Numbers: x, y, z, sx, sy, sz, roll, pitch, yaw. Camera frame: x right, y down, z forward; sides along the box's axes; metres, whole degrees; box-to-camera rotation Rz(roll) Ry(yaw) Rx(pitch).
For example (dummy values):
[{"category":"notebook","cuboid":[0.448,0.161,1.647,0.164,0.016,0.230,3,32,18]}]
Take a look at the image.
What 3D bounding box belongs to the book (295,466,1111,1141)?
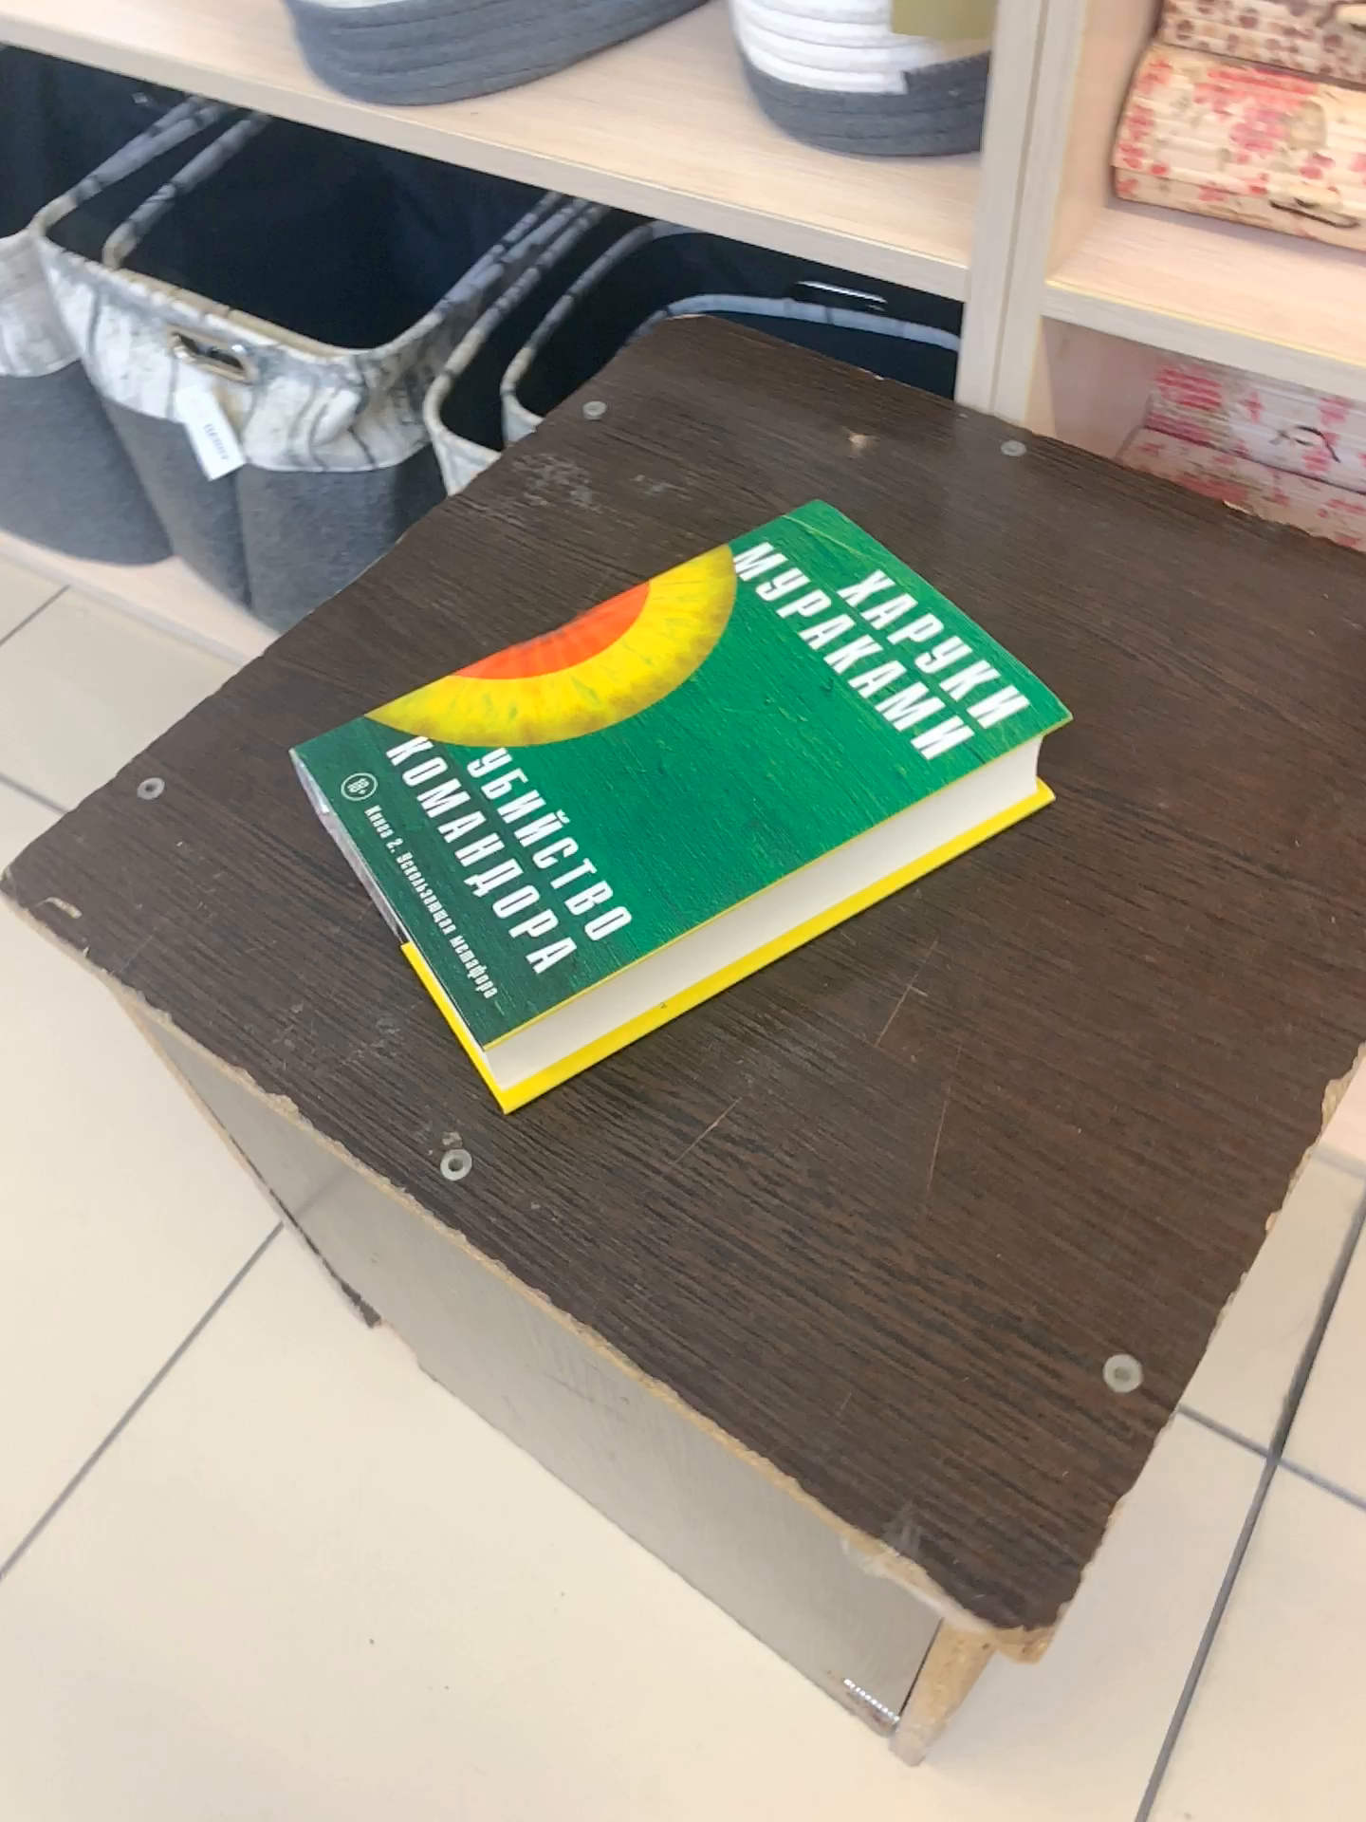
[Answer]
[{"category":"book","cuboid":[0.005,-0.047,0.471,0.217,0.050,0.150,-30,58,-13]}]
